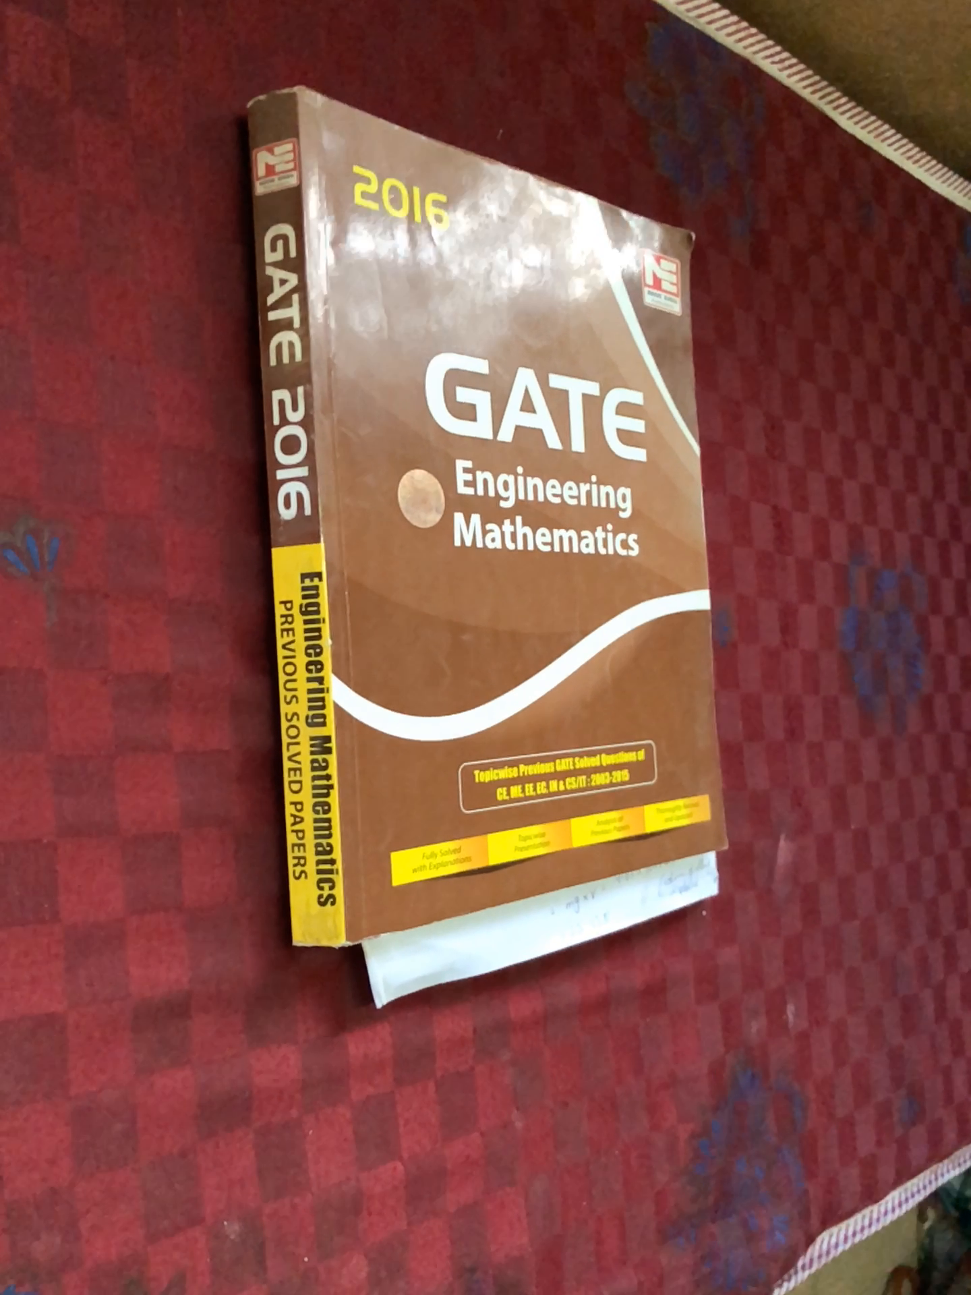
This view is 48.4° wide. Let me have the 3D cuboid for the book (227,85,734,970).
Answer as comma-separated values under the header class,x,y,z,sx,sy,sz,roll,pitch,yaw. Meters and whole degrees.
class,x,y,z,sx,sy,sz,roll,pitch,yaw
book,0.010,-0.043,0.451,0.221,0.040,0.300,-1,86,-42
